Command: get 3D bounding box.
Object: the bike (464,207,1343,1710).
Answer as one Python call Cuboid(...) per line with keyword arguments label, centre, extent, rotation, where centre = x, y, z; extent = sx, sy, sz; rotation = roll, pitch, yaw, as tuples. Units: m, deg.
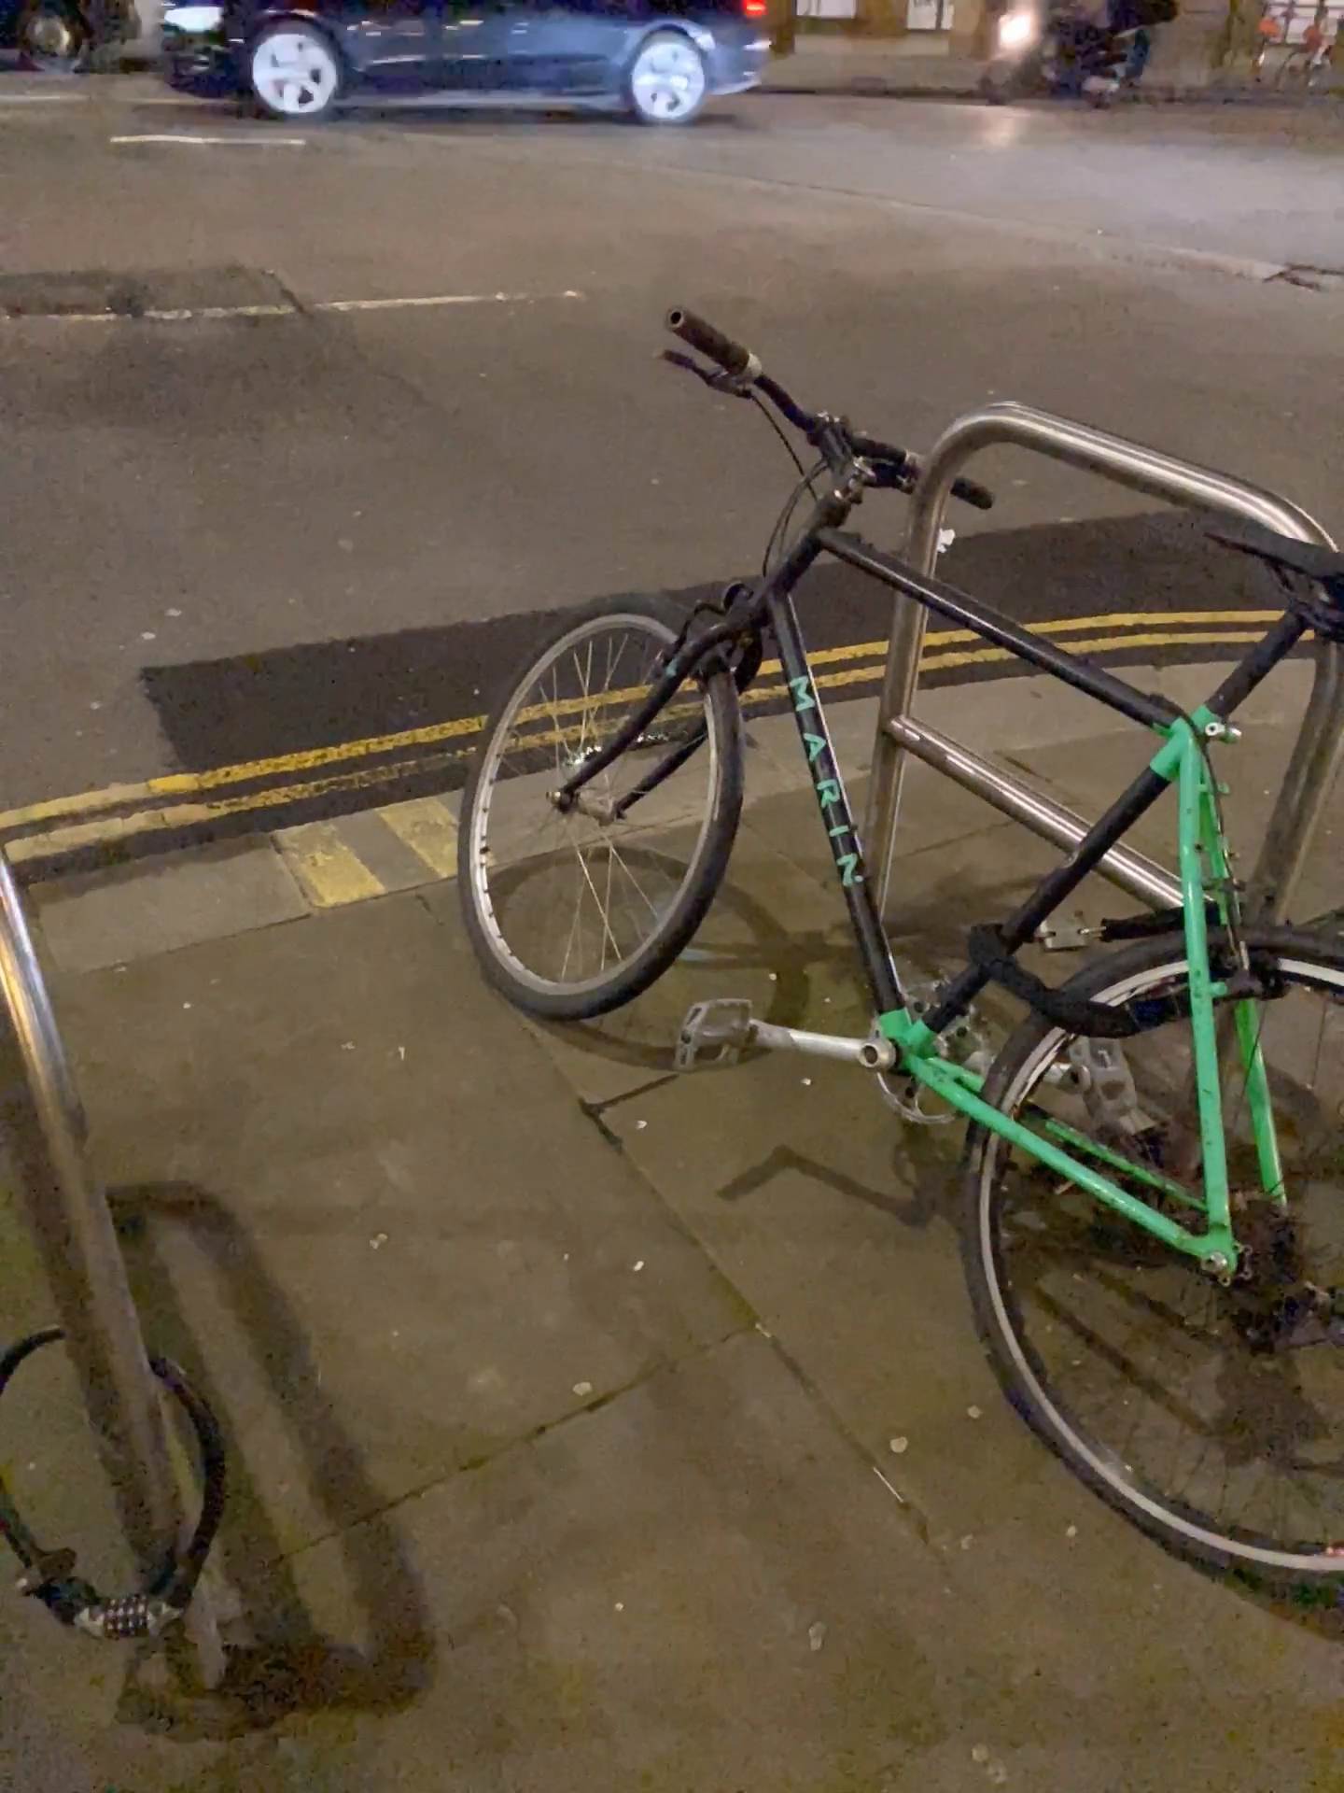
Cuboid(label="bike", centre=(0.464, -0.158, 1.725), extent=(0.640, 1.014, 1.692), rotation=(-22, 42, -31))
